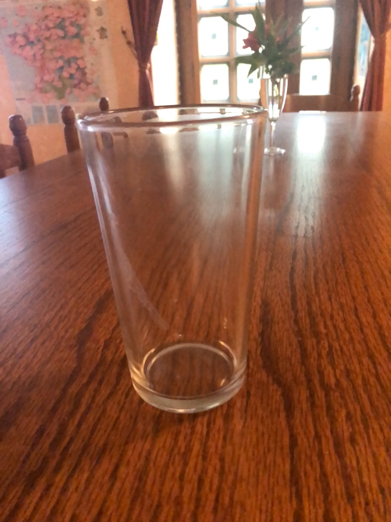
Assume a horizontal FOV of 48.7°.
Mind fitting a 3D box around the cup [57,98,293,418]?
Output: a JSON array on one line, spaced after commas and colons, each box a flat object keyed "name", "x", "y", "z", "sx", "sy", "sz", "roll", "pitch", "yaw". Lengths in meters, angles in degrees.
[{"name": "cup", "x": -0.002, "y": -0.006, "z": 0.232, "sx": 0.089, "sy": 0.144, "sz": 0.092, "roll": -2, "pitch": 23, "yaw": 1}]
